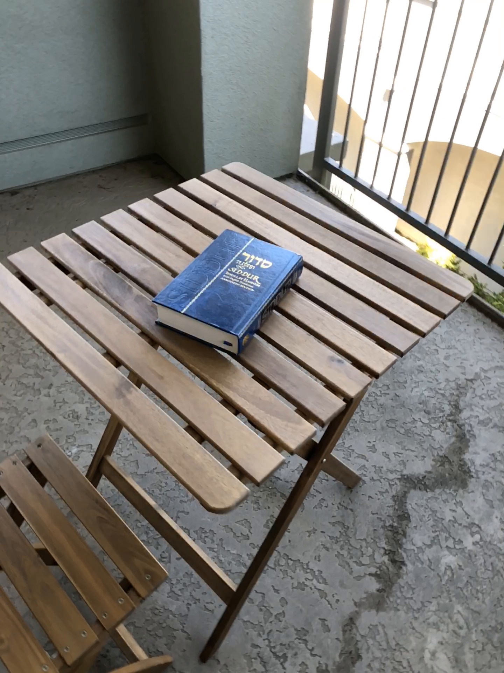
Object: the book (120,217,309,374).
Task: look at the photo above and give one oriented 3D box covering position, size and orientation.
[{"bbox_3d":[-0.052,-0.076,0.881,0.200,0.070,0.231,22,47,19],"label":"book"}]
